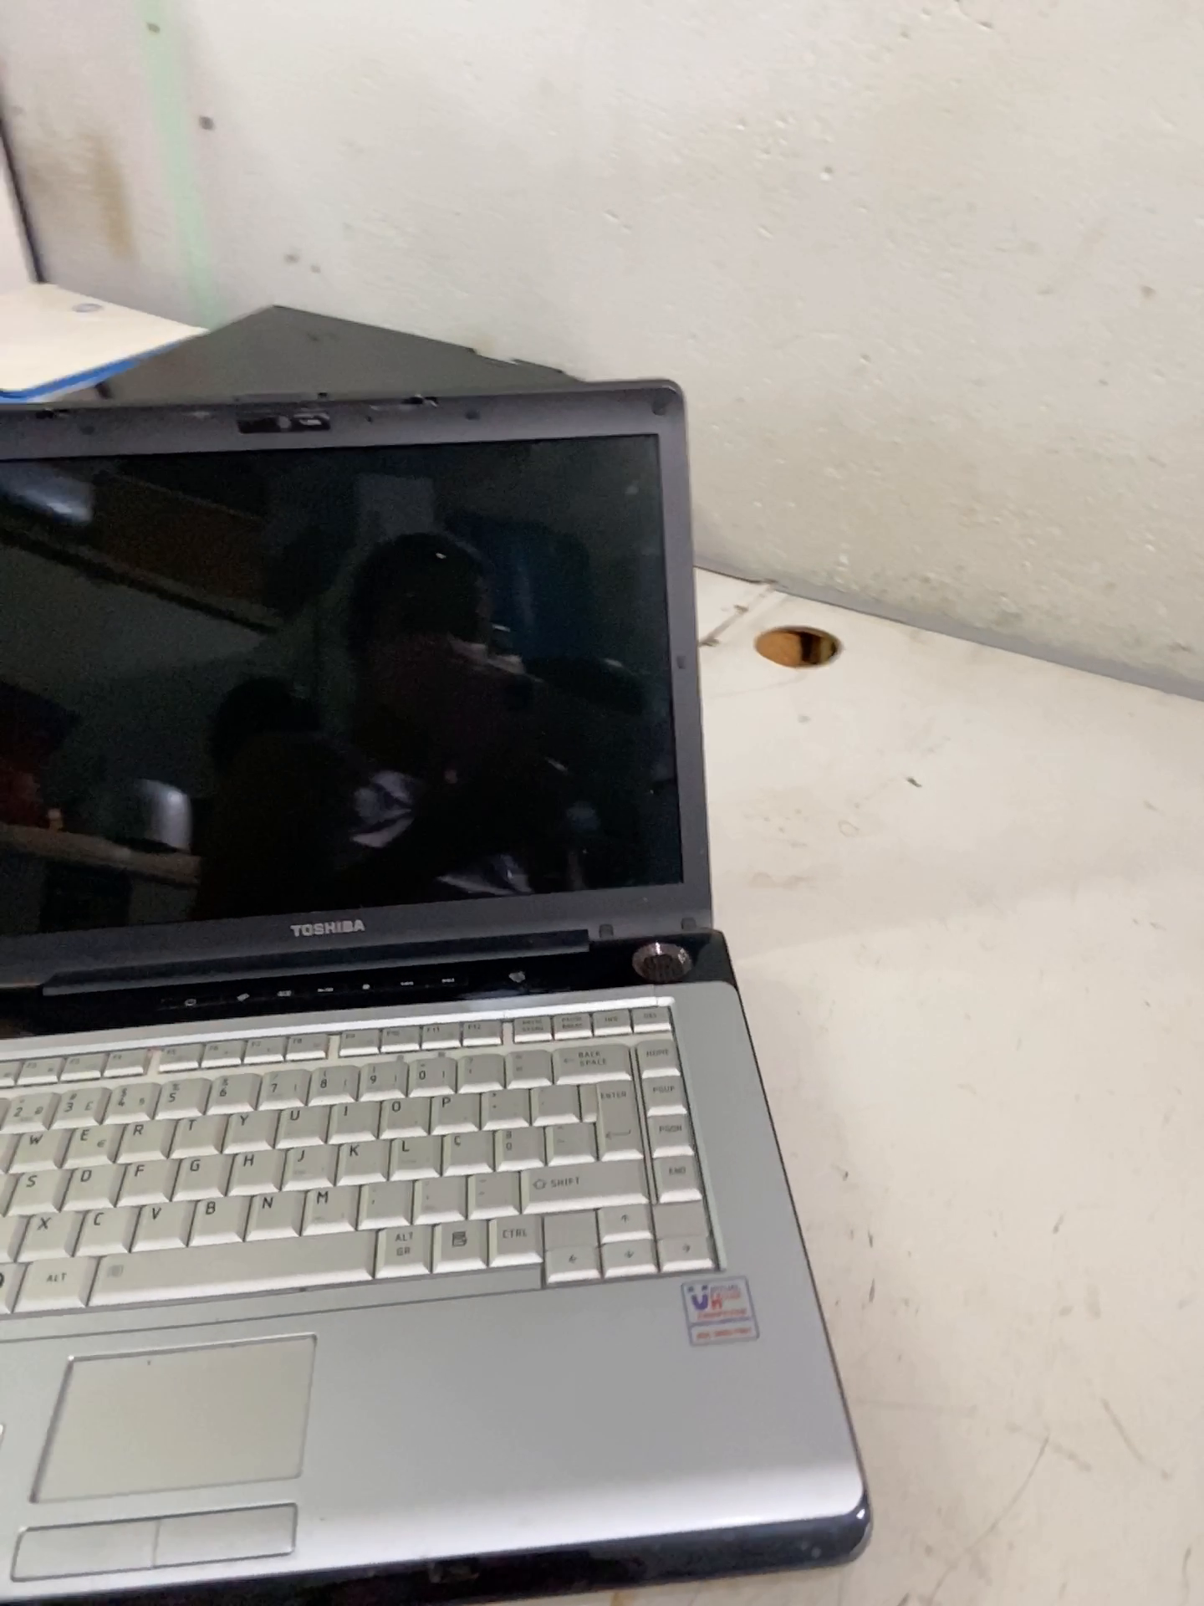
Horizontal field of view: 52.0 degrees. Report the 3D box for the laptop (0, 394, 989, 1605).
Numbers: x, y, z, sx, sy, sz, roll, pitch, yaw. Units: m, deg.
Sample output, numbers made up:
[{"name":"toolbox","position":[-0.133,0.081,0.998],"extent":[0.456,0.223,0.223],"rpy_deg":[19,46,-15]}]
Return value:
[{"name":"laptop","position":[-0.120,0.022,0.435],"extent":[0.350,0.200,0.395],"rpy_deg":[-4,35,-4]}]
